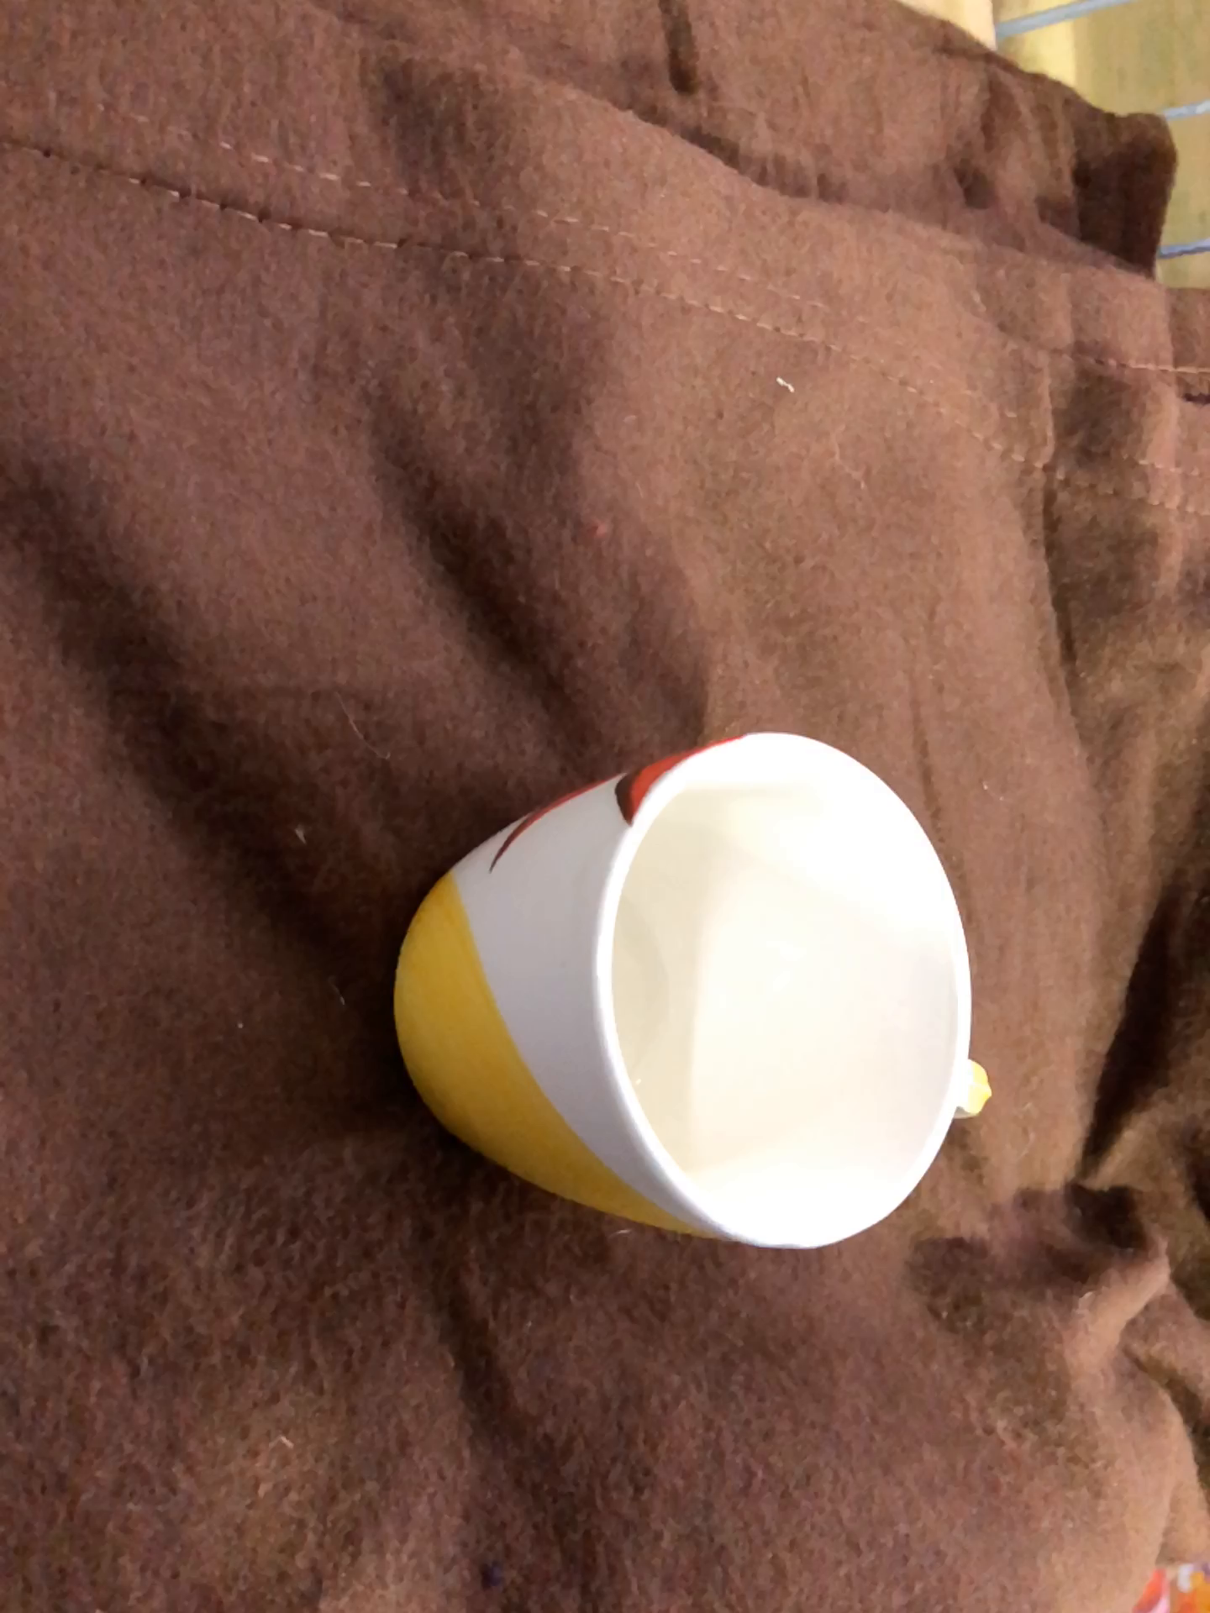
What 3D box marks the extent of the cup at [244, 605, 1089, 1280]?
[{"bbox_3d":[0.011,0.024,0.186,0.090,0.060,0.060,21,70,-32],"label":"cup"}]
